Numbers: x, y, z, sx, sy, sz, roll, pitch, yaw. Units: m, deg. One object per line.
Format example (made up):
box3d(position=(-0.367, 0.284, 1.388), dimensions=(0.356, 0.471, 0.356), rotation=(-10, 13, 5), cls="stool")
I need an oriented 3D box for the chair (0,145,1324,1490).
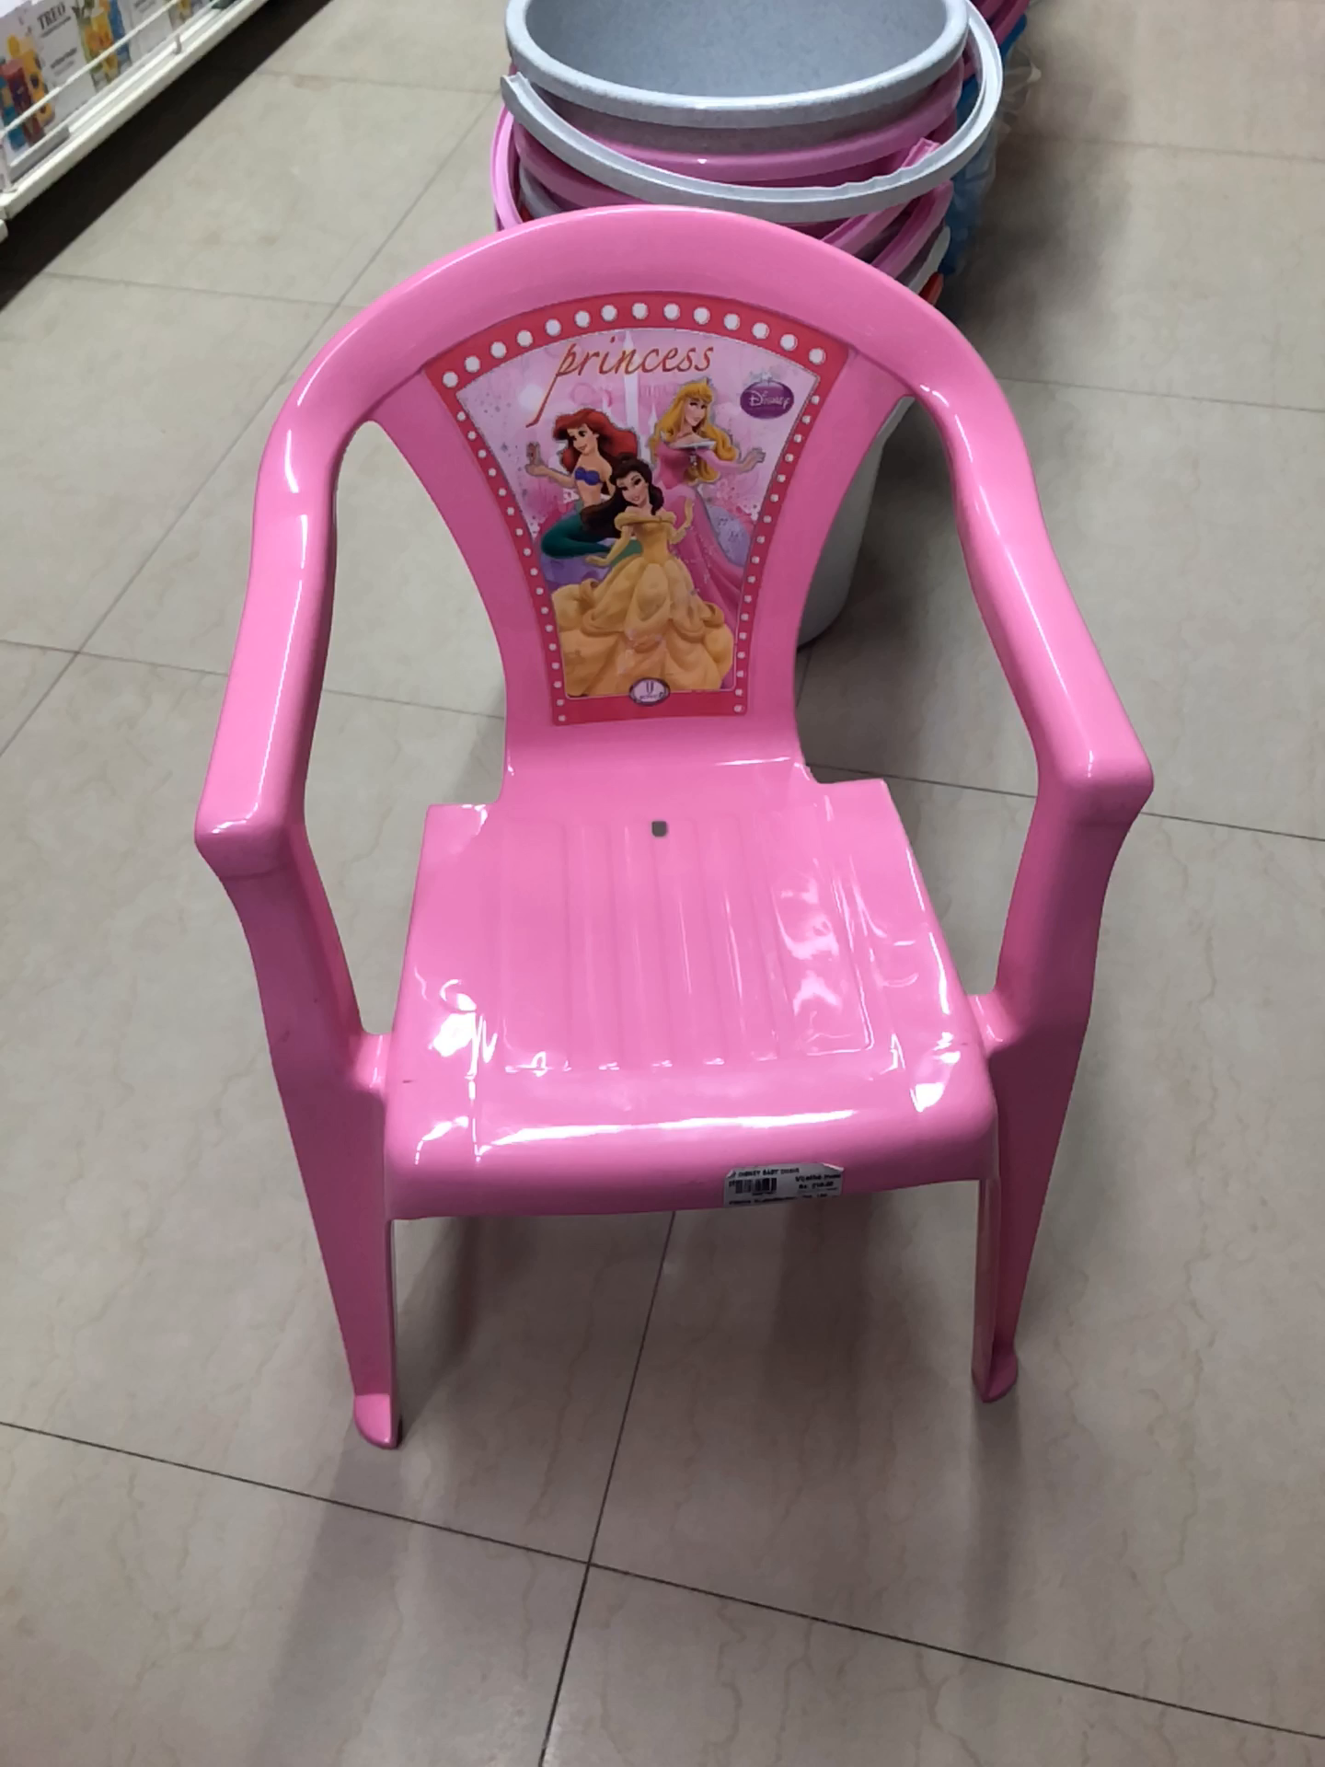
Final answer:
box3d(position=(-0.004, -0.004, 0.661), dimensions=(0.370, 0.477, 0.352), rotation=(-4, 49, -2), cls="chair")
